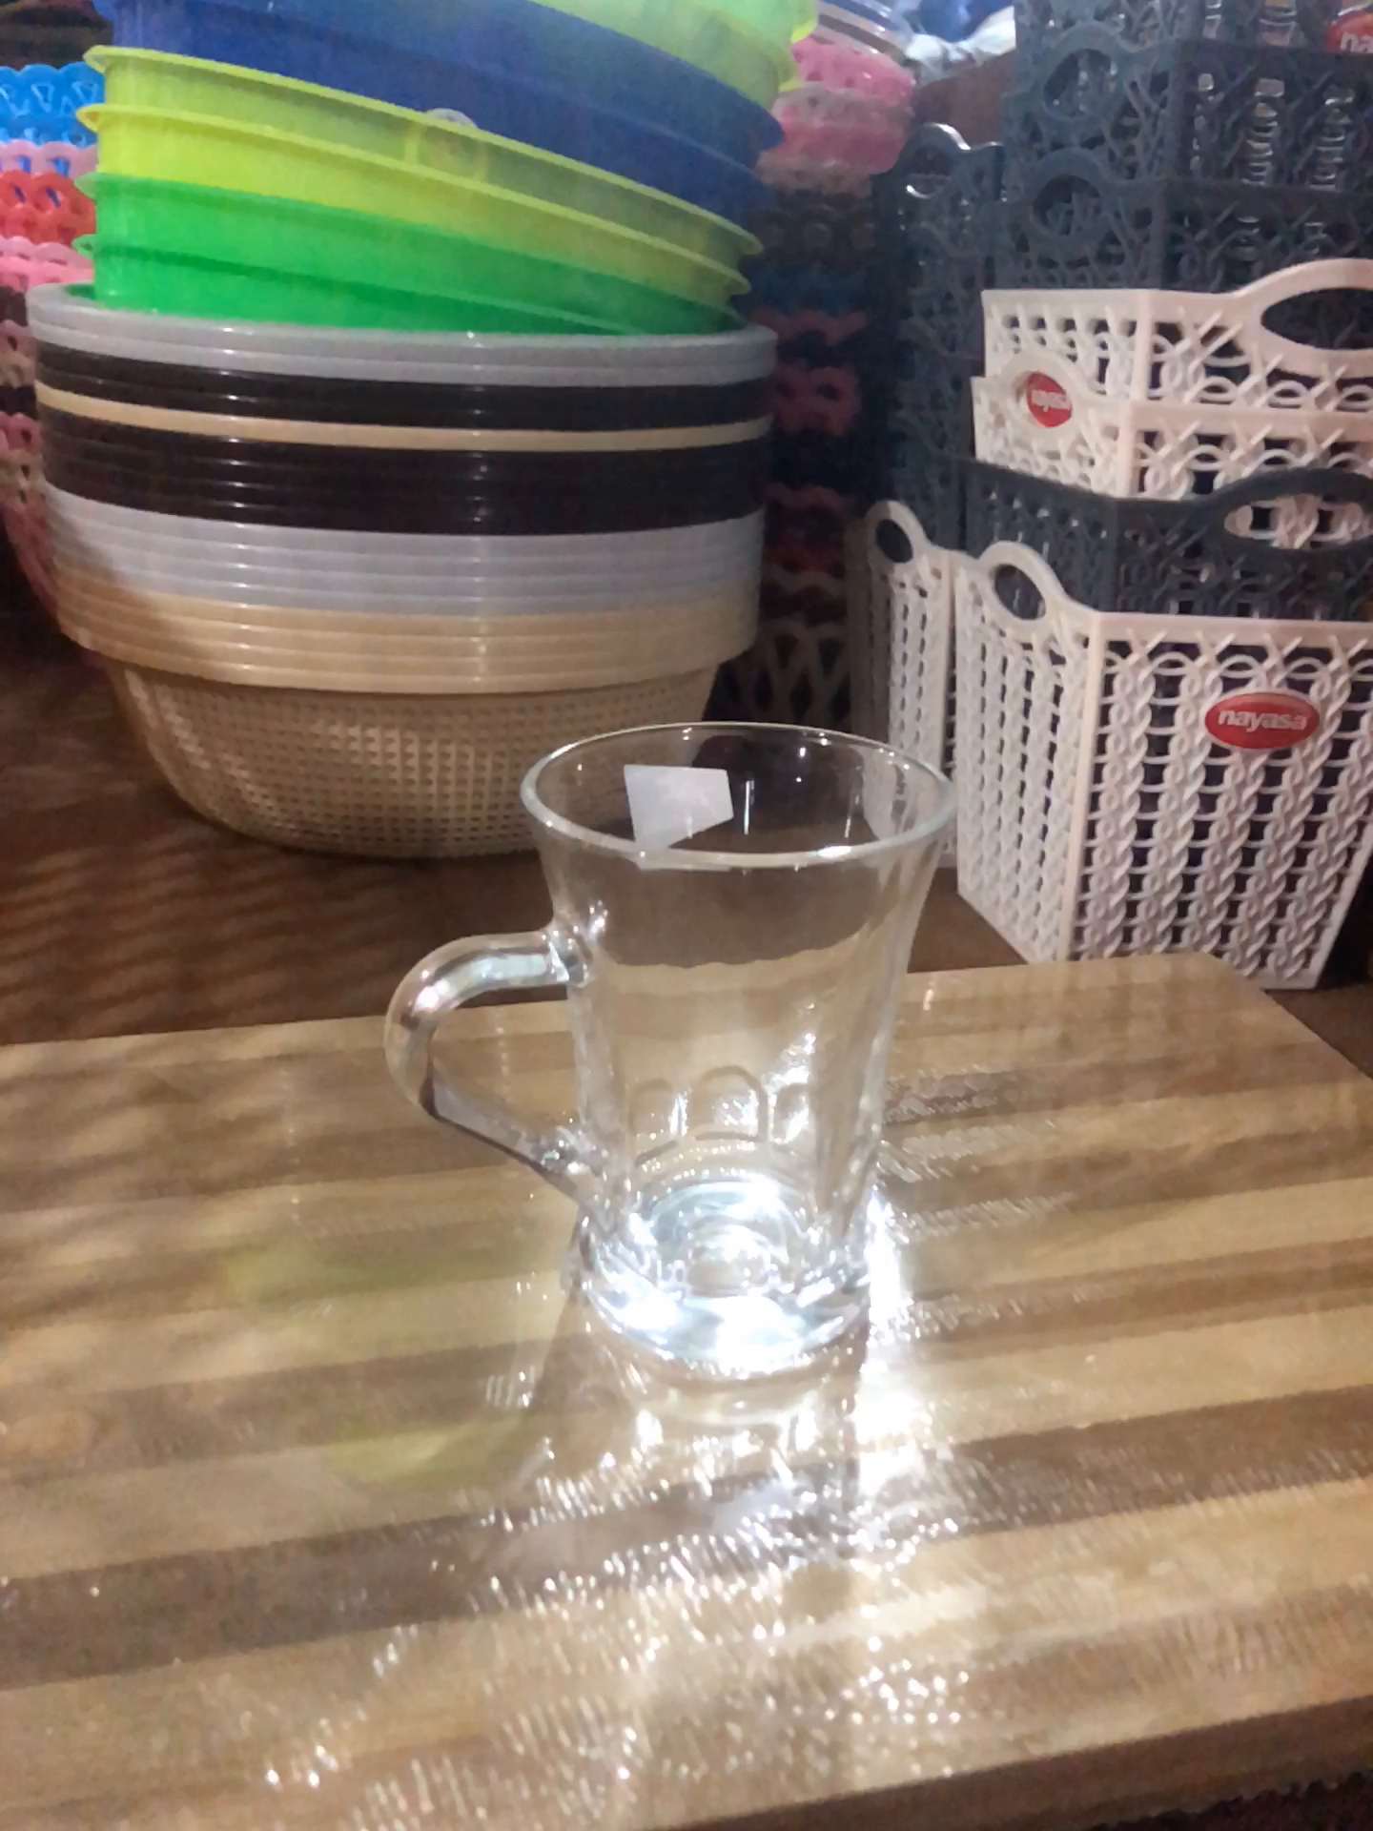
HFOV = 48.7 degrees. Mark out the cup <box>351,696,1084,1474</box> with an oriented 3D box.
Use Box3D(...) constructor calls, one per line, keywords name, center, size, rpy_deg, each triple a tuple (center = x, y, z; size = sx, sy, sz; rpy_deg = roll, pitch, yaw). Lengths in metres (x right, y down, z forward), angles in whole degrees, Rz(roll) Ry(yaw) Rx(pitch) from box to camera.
Box3D(name="cup", center=(0.001, 0.020, 0.235), size=(0.090, 0.090, 0.060), rpy_deg=(-7, 24, -18))
